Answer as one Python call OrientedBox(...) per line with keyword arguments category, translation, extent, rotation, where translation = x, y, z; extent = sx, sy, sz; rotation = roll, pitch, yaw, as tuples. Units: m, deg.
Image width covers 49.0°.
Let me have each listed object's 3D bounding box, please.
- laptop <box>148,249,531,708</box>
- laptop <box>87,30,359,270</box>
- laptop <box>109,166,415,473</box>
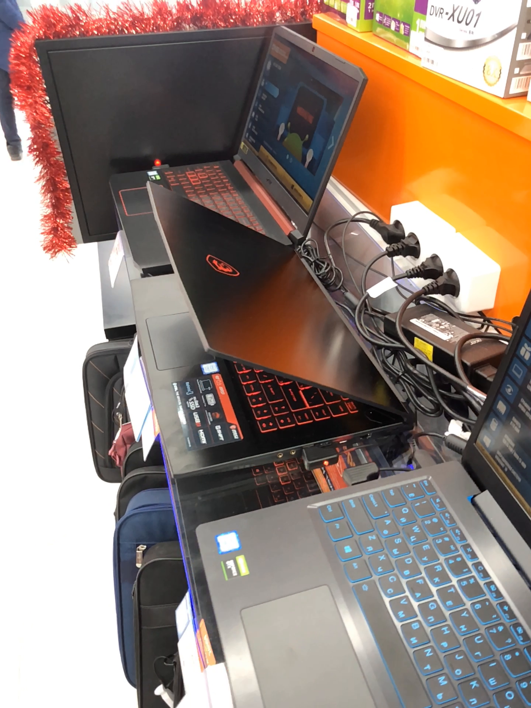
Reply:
OrientedBox(category="laptop", translation=(0.112, 0.122, 0.305), extent=(0.278, 0.228, 0.327), rotation=(-8, 36, -9))
OrientedBox(category="laptop", translation=(-0.083, -0.350, 0.935), extent=(0.329, 0.225, 0.367), rotation=(-12, 39, -13))
OrientedBox(category="laptop", translation=(-0.030, -0.068, 0.647), extent=(0.225, 0.134, 0.348), rotation=(-11, 40, -13))
